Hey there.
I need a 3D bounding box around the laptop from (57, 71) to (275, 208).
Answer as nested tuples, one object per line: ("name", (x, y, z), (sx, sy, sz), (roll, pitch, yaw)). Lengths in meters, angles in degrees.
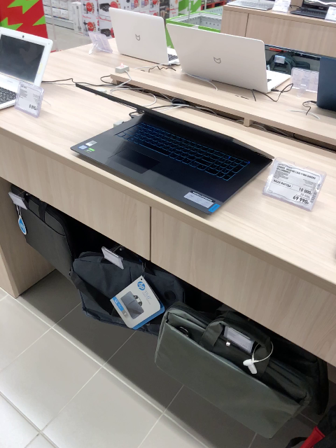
("laptop", (-0.009, -0.221, 0.851), (0.390, 0.129, 0.272), (26, 44, 29))
